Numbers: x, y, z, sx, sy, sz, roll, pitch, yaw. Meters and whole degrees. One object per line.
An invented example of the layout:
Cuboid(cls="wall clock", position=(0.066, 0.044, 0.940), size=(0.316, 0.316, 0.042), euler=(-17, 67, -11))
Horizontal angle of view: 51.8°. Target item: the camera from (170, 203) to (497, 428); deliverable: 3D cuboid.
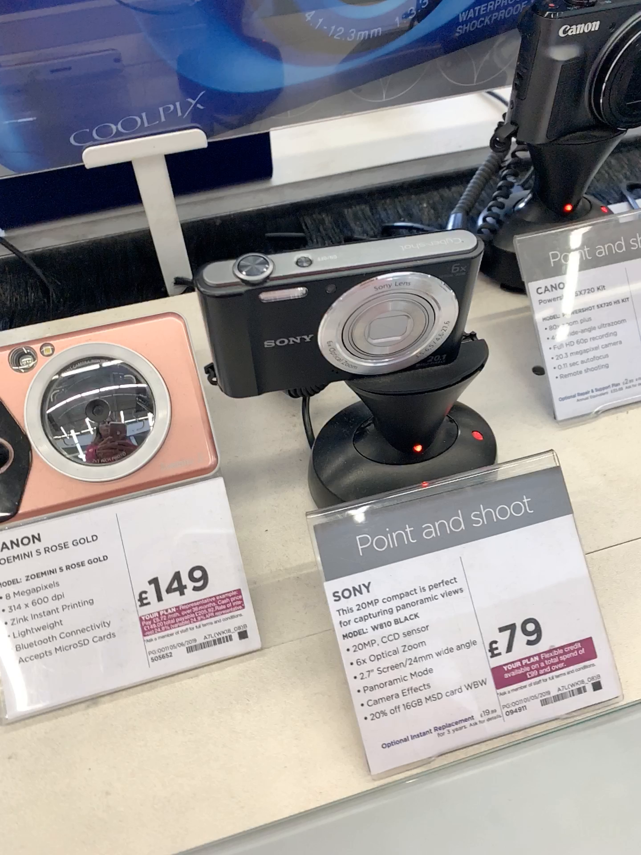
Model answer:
Cuboid(cls="camera", position=(0.004, -0.038, 0.234), size=(0.100, 0.060, 0.030), euler=(-10, 53, -6))
